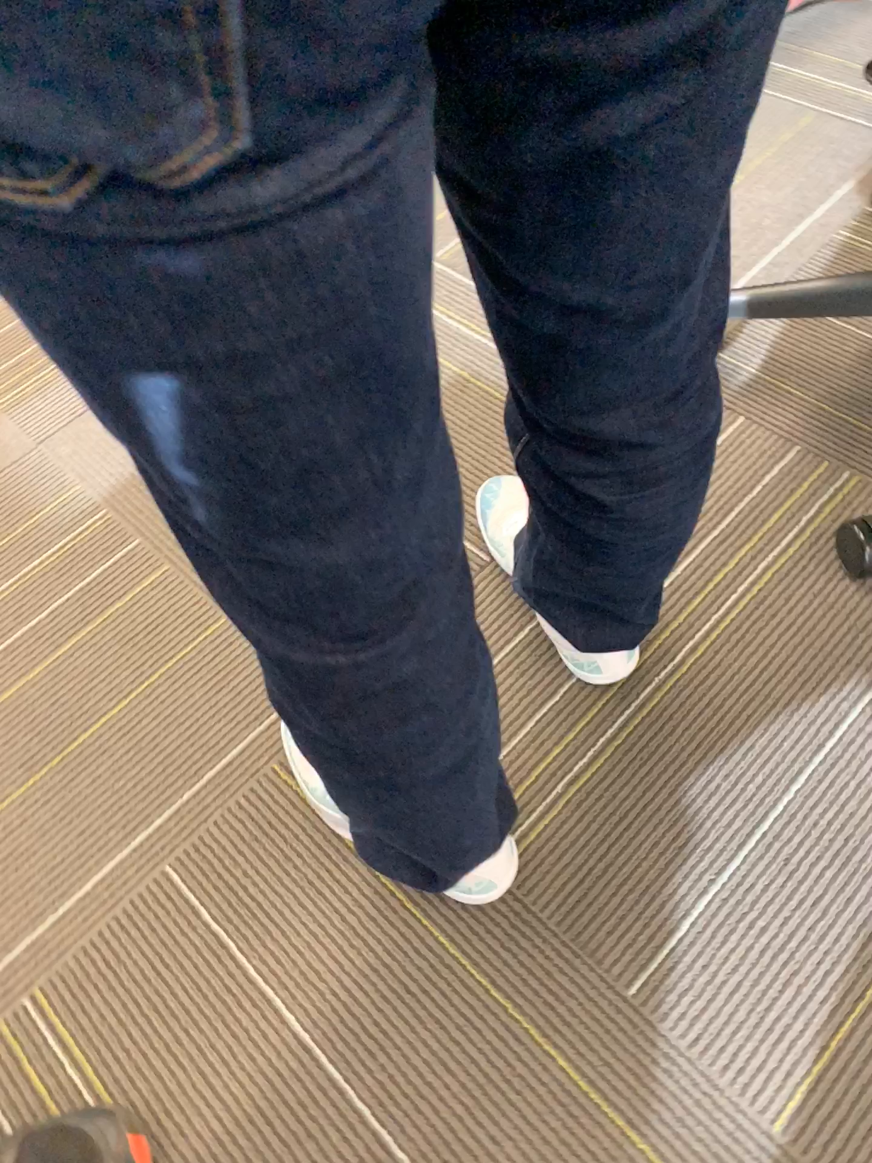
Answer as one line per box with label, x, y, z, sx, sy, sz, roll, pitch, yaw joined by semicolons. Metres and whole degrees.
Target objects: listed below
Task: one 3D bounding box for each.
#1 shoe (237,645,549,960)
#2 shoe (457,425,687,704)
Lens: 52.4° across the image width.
shoe;-0.044;0.202;0.850;0.290;0.078;0.122;36;67;28
shoe;0.138;-0.026;0.957;0.117;0.088;0.284;-23;56;-6
